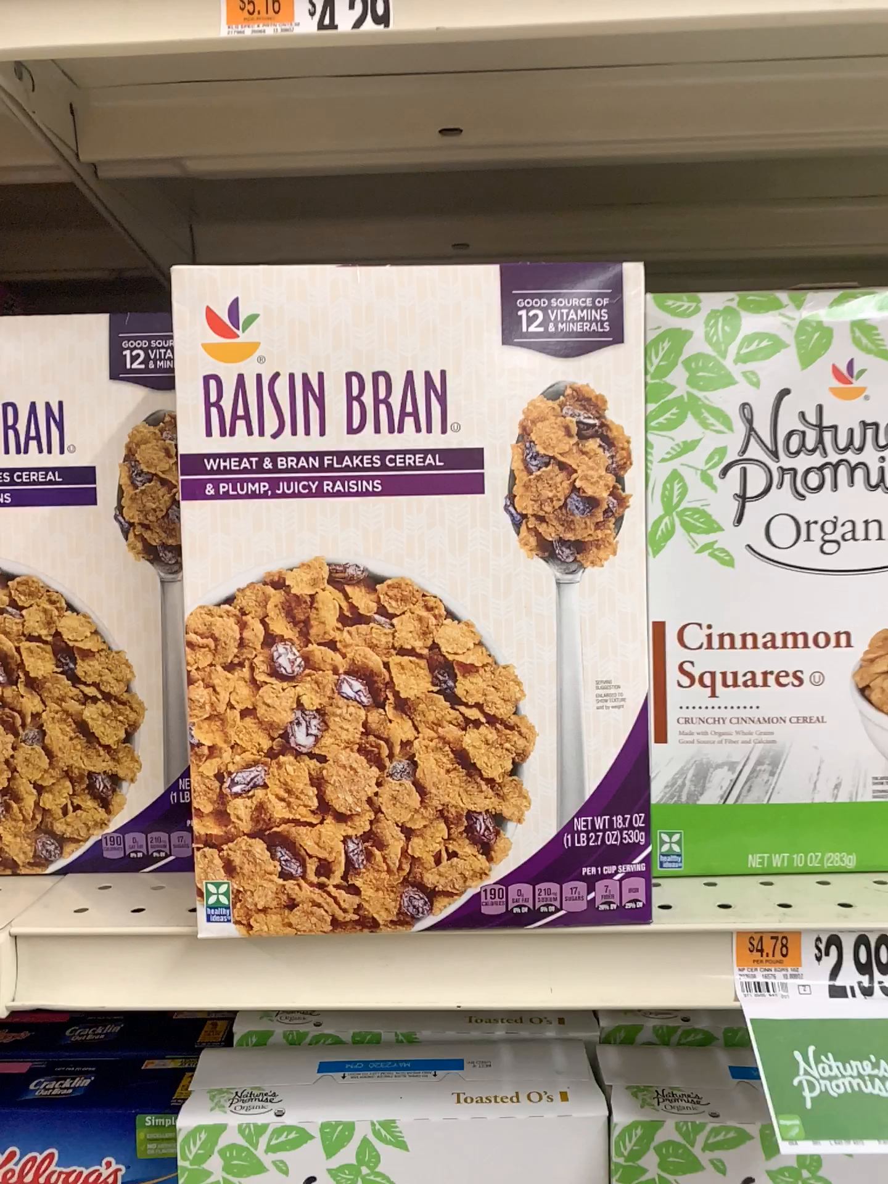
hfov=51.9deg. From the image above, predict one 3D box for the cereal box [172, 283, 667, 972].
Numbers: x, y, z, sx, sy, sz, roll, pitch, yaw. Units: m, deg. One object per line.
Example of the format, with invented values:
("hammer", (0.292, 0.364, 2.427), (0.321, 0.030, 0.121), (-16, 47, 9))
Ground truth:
("cereal box", (-0.007, 0.014, 0.395), (0.190, 0.270, 0.070), (-1, 4, -1))
